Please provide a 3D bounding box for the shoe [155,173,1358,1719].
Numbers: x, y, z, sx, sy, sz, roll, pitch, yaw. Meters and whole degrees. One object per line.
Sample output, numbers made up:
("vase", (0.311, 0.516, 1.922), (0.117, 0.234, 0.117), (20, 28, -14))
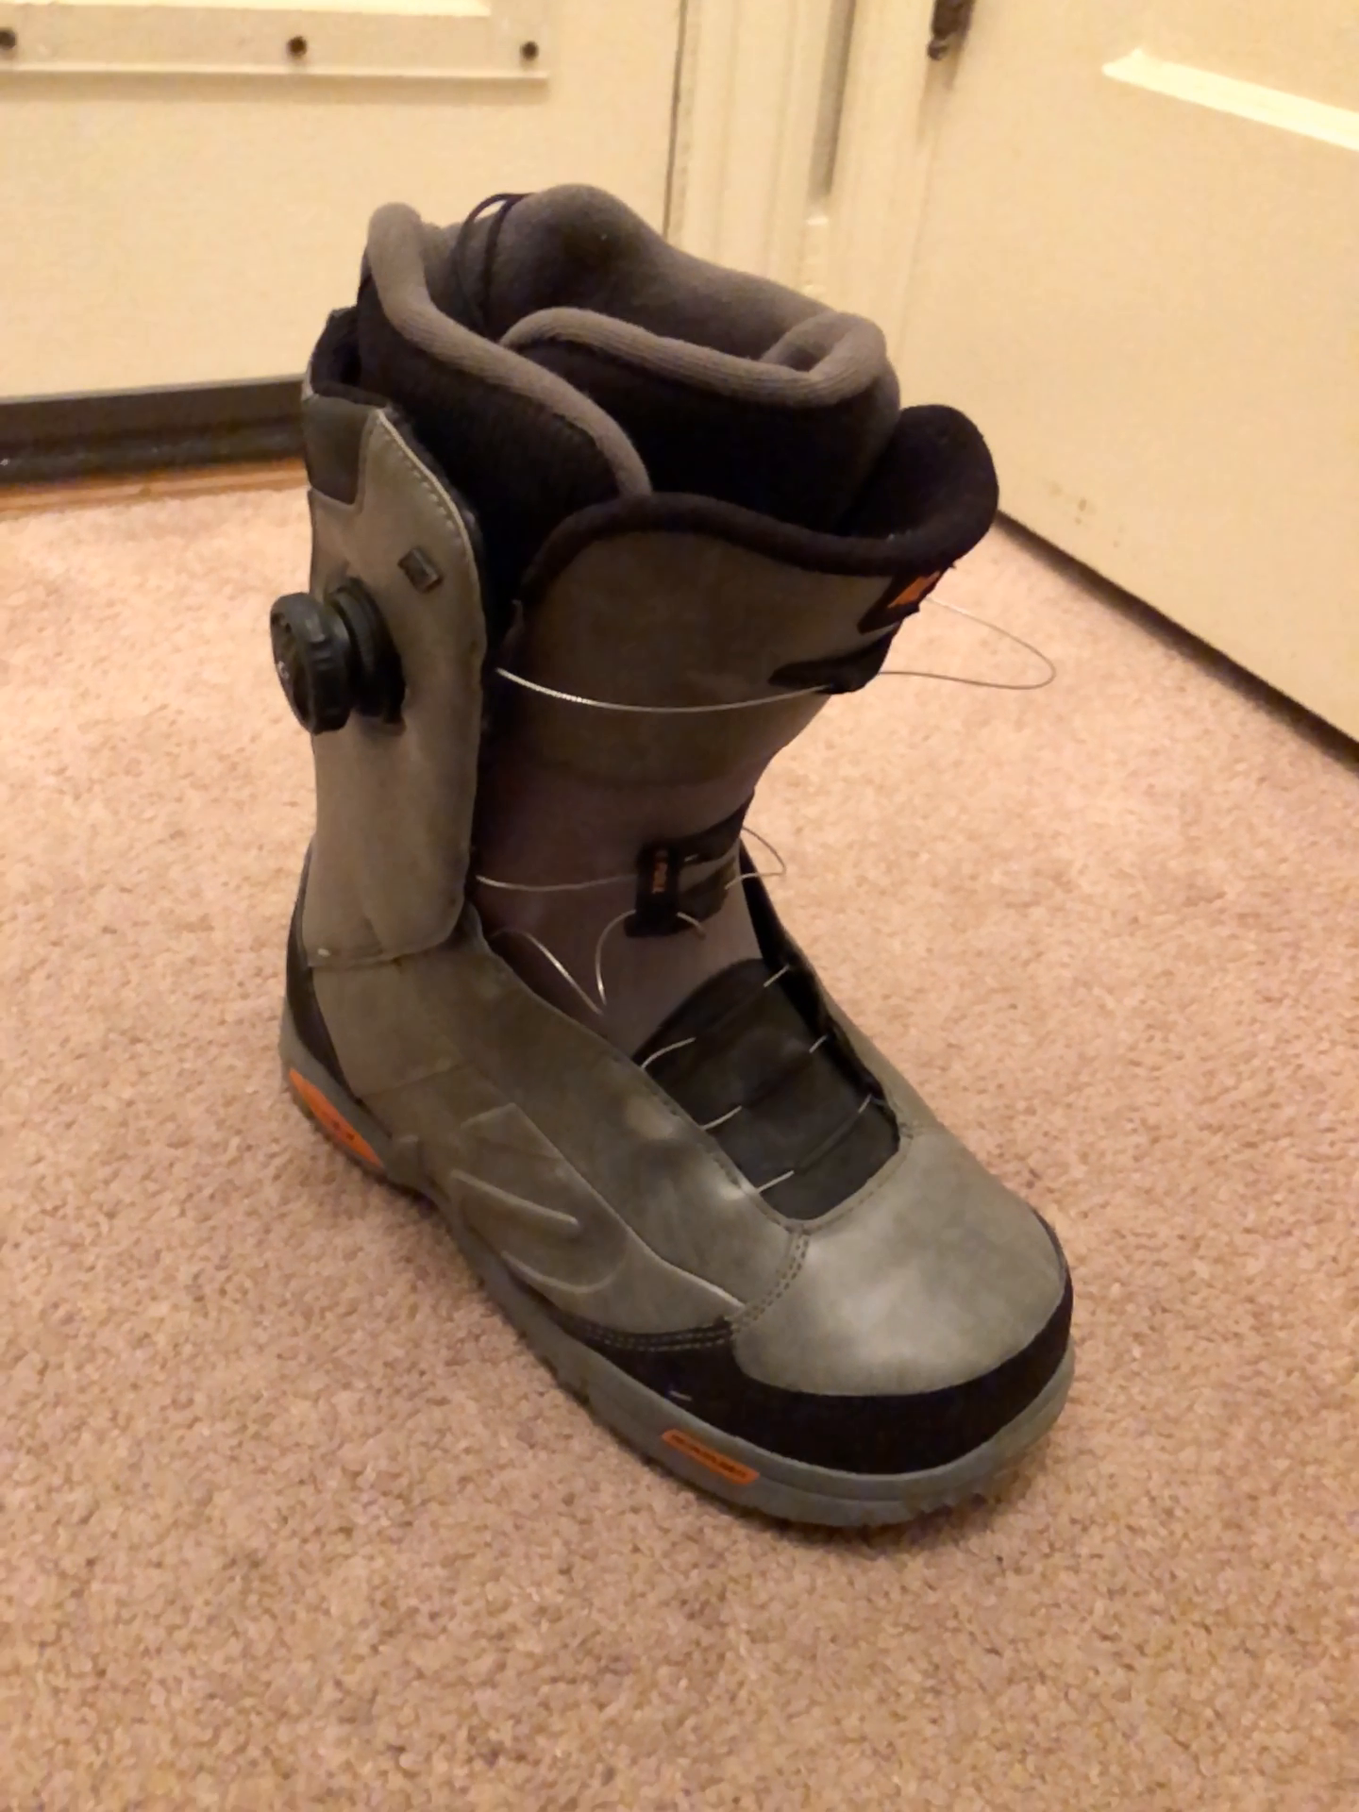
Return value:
("shoe", (0.011, -0.006, 0.396), (0.138, 0.281, 0.274), (-27, 48, -37))
